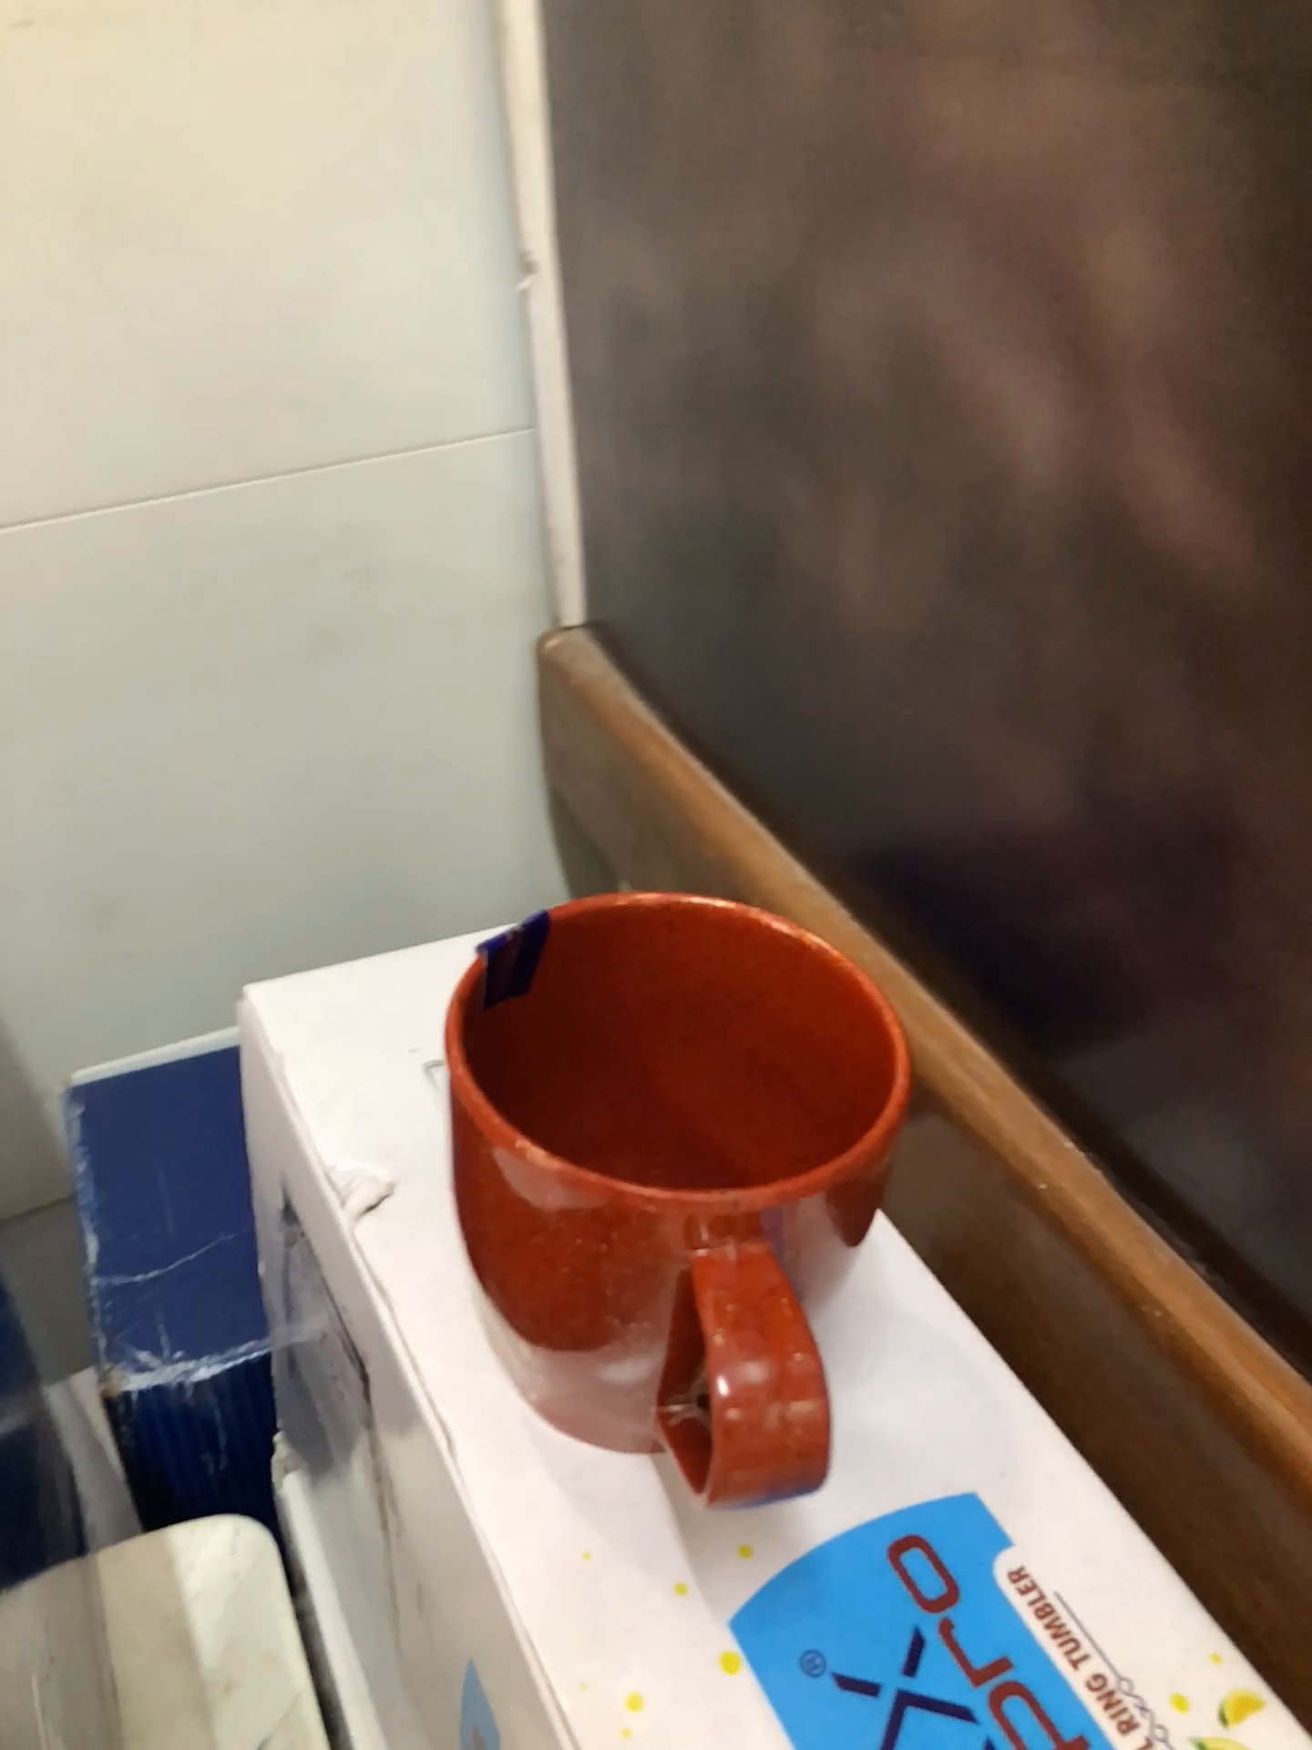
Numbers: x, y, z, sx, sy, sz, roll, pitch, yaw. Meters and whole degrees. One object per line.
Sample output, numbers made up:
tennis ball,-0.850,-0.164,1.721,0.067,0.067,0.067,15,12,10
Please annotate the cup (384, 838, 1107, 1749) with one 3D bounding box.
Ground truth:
cup,0.000,0.051,0.206,0.070,0.070,0.101,-2,32,-13
